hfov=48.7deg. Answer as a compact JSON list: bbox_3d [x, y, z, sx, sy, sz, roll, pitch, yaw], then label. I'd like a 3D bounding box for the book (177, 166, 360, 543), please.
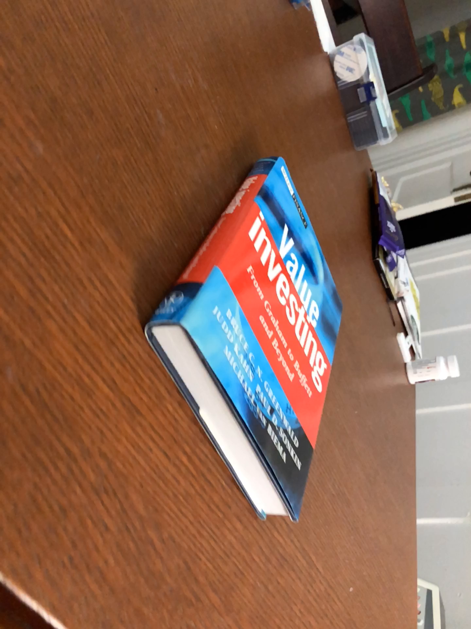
[{"bbox_3d":[0.046,0.012,0.385,0.170,0.020,0.231,63,30,-26],"label":"book"}]
